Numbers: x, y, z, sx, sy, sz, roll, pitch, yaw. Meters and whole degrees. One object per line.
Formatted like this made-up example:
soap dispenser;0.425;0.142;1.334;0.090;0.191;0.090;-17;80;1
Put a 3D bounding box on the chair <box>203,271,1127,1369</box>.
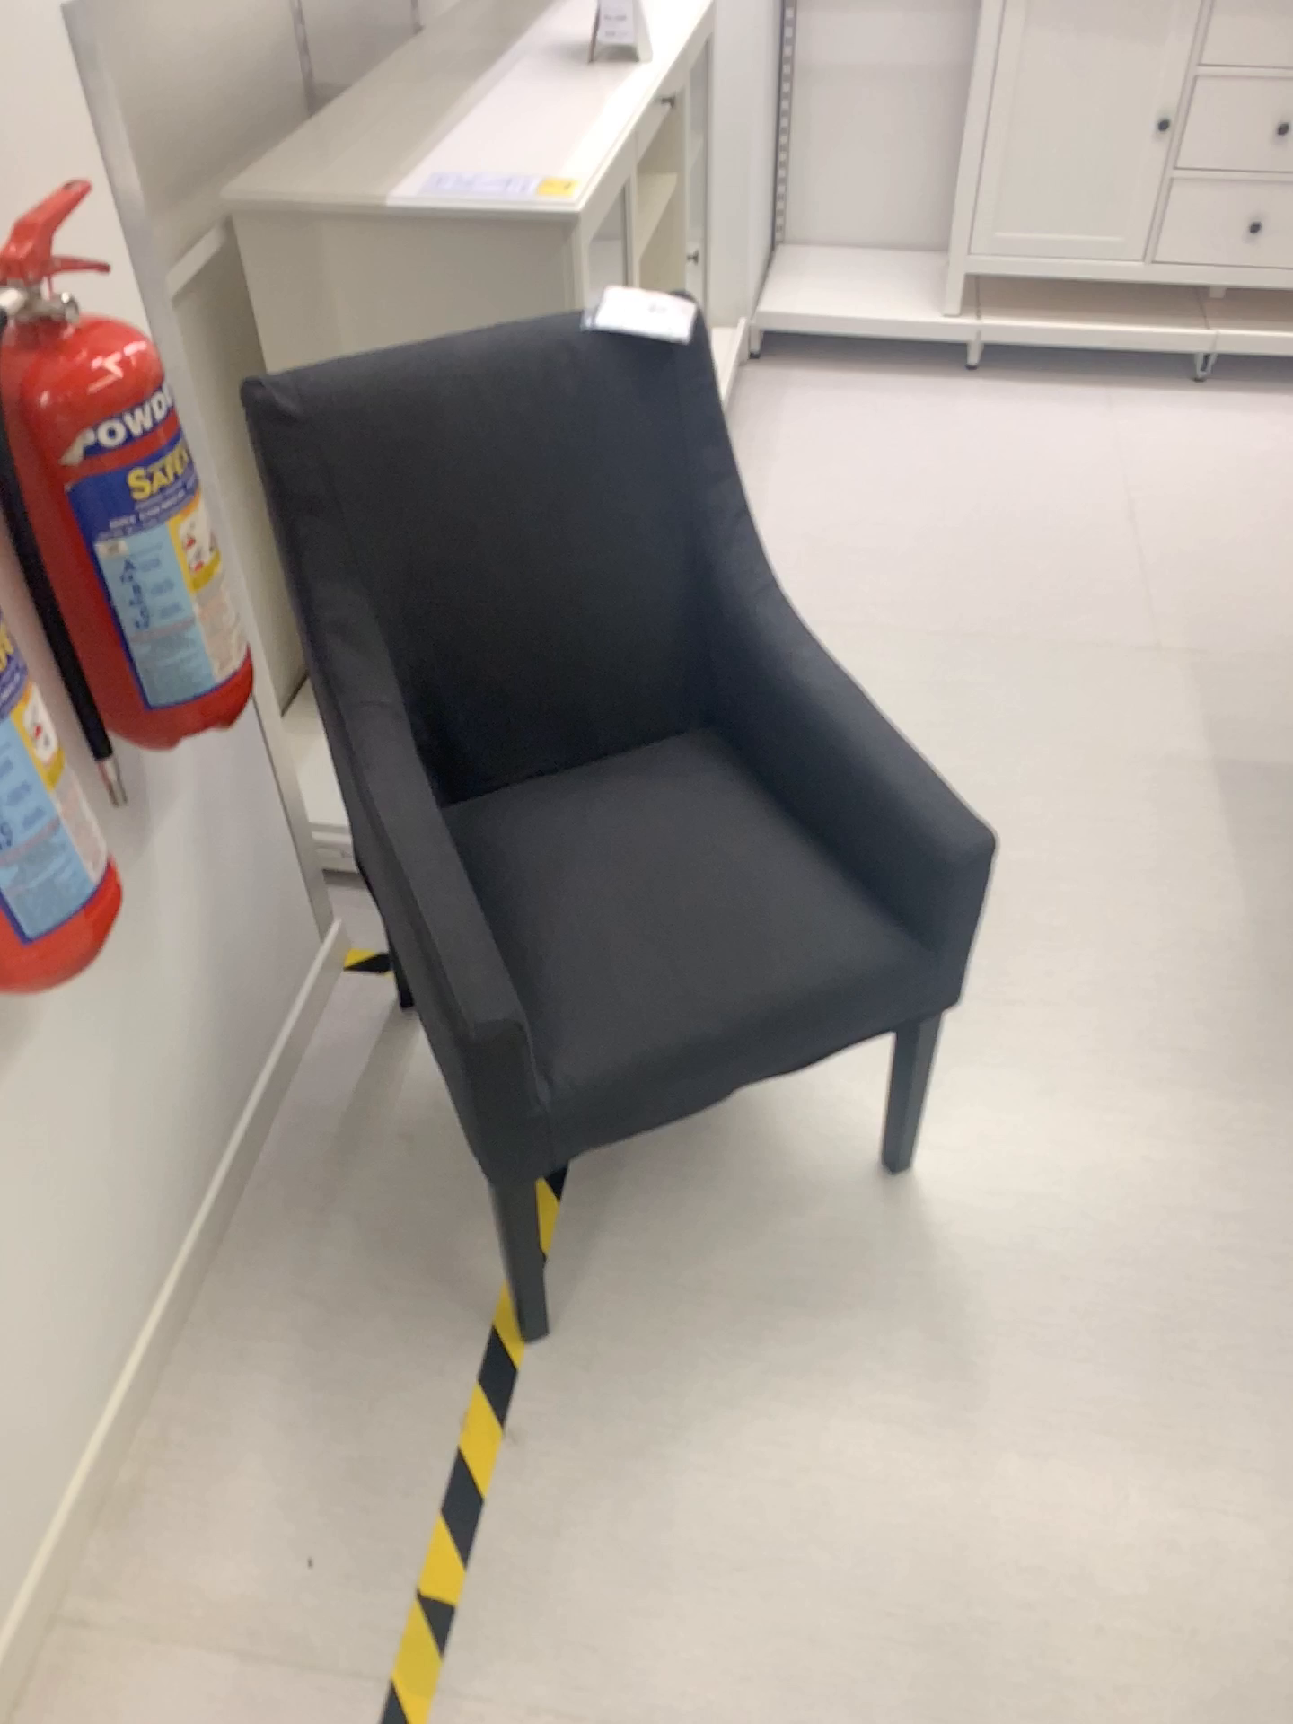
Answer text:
chair;-0.017;-0.042;1.473;0.610;0.917;0.632;-19;46;-17
